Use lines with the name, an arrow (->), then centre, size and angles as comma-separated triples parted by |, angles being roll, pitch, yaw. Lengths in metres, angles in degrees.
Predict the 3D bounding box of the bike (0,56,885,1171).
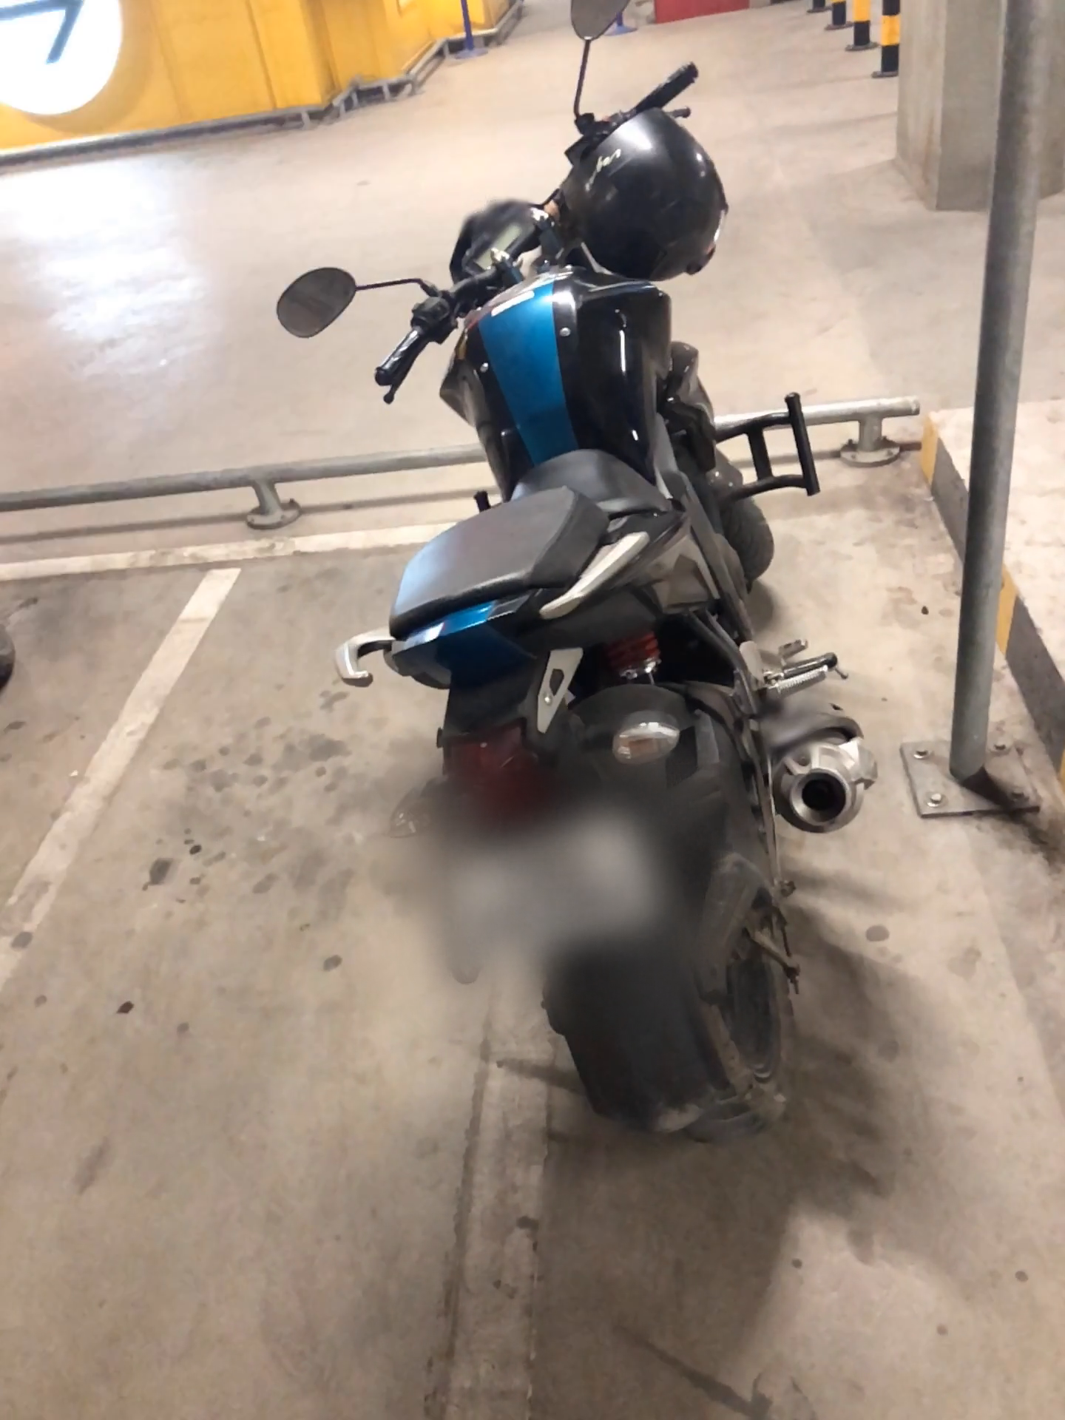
bike -> -0.075, -0.263, 1.717 | 0.766, 0.950, 1.422 | -7, 36, 5
